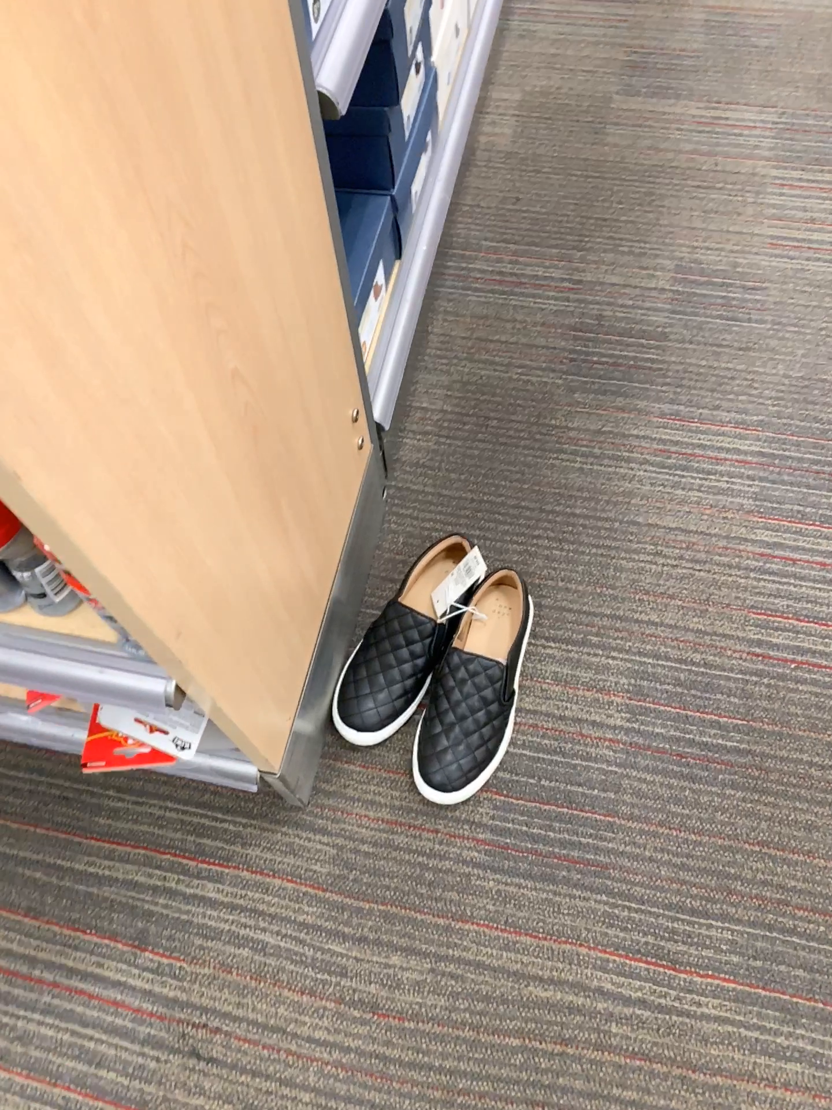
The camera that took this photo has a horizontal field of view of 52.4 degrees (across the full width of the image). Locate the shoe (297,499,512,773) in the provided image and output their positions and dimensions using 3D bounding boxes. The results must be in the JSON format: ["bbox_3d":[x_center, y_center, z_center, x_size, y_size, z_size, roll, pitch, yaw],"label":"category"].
[{"bbox_3d":[-0.005,0.084,0.910,0.100,0.100,0.260,27,67,16],"label":"shoe"}]

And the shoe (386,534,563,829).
[{"bbox_3d":[0.064,0.125,0.858,0.100,0.100,0.260,15,65,11],"label":"shoe"}]
